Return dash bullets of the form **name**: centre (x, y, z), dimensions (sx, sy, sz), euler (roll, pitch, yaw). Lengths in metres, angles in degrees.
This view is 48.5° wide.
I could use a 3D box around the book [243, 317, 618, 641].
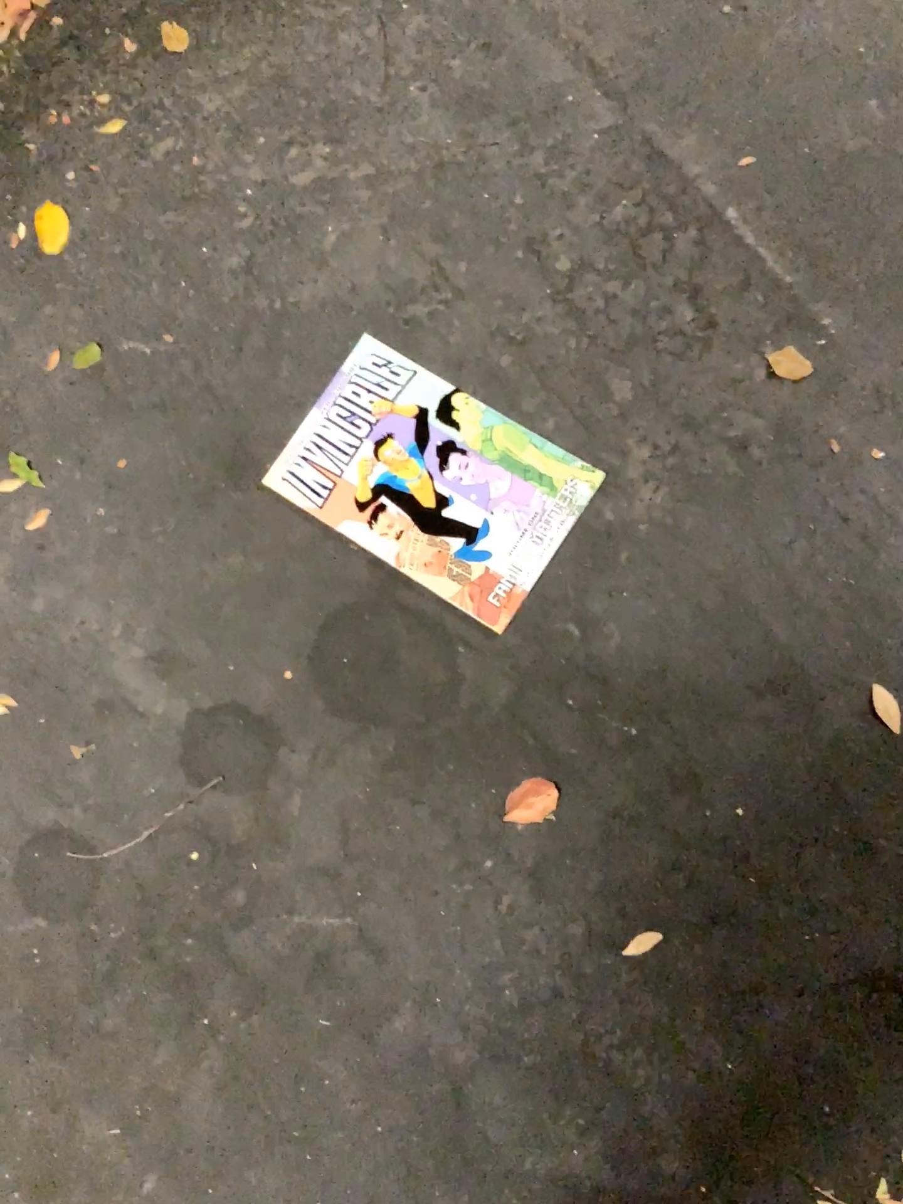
- **book**: centre (-0.021, -0.112, 0.864), dimensions (0.270, 0.020, 0.180), euler (31, 83, 15)
